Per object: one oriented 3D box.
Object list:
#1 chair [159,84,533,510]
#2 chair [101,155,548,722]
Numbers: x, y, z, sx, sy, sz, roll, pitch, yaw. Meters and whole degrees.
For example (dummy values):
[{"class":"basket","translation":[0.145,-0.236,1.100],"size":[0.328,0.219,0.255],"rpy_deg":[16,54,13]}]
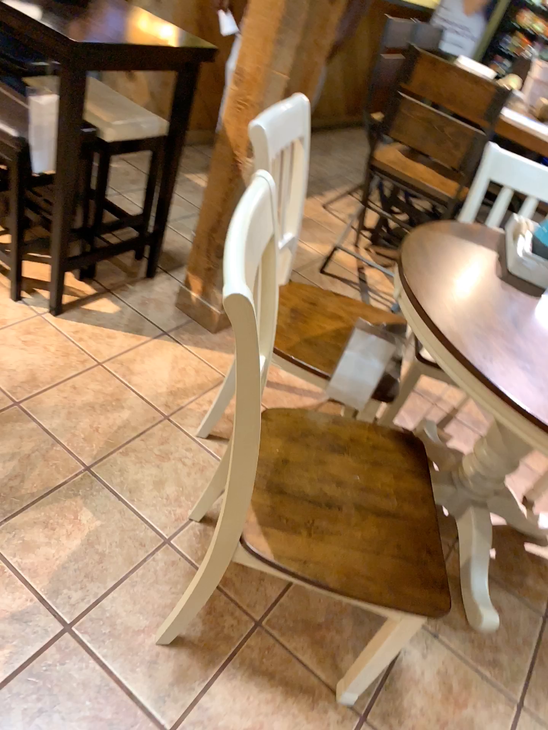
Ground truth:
[{"class":"chair","translation":[0.148,-0.166,1.576],"size":[0.632,0.900,0.493],"rpy_deg":[23,37,2]},{"class":"chair","translation":[0.105,0.197,1.105],"size":[0.632,0.890,0.493],"rpy_deg":[18,37,-5]}]
